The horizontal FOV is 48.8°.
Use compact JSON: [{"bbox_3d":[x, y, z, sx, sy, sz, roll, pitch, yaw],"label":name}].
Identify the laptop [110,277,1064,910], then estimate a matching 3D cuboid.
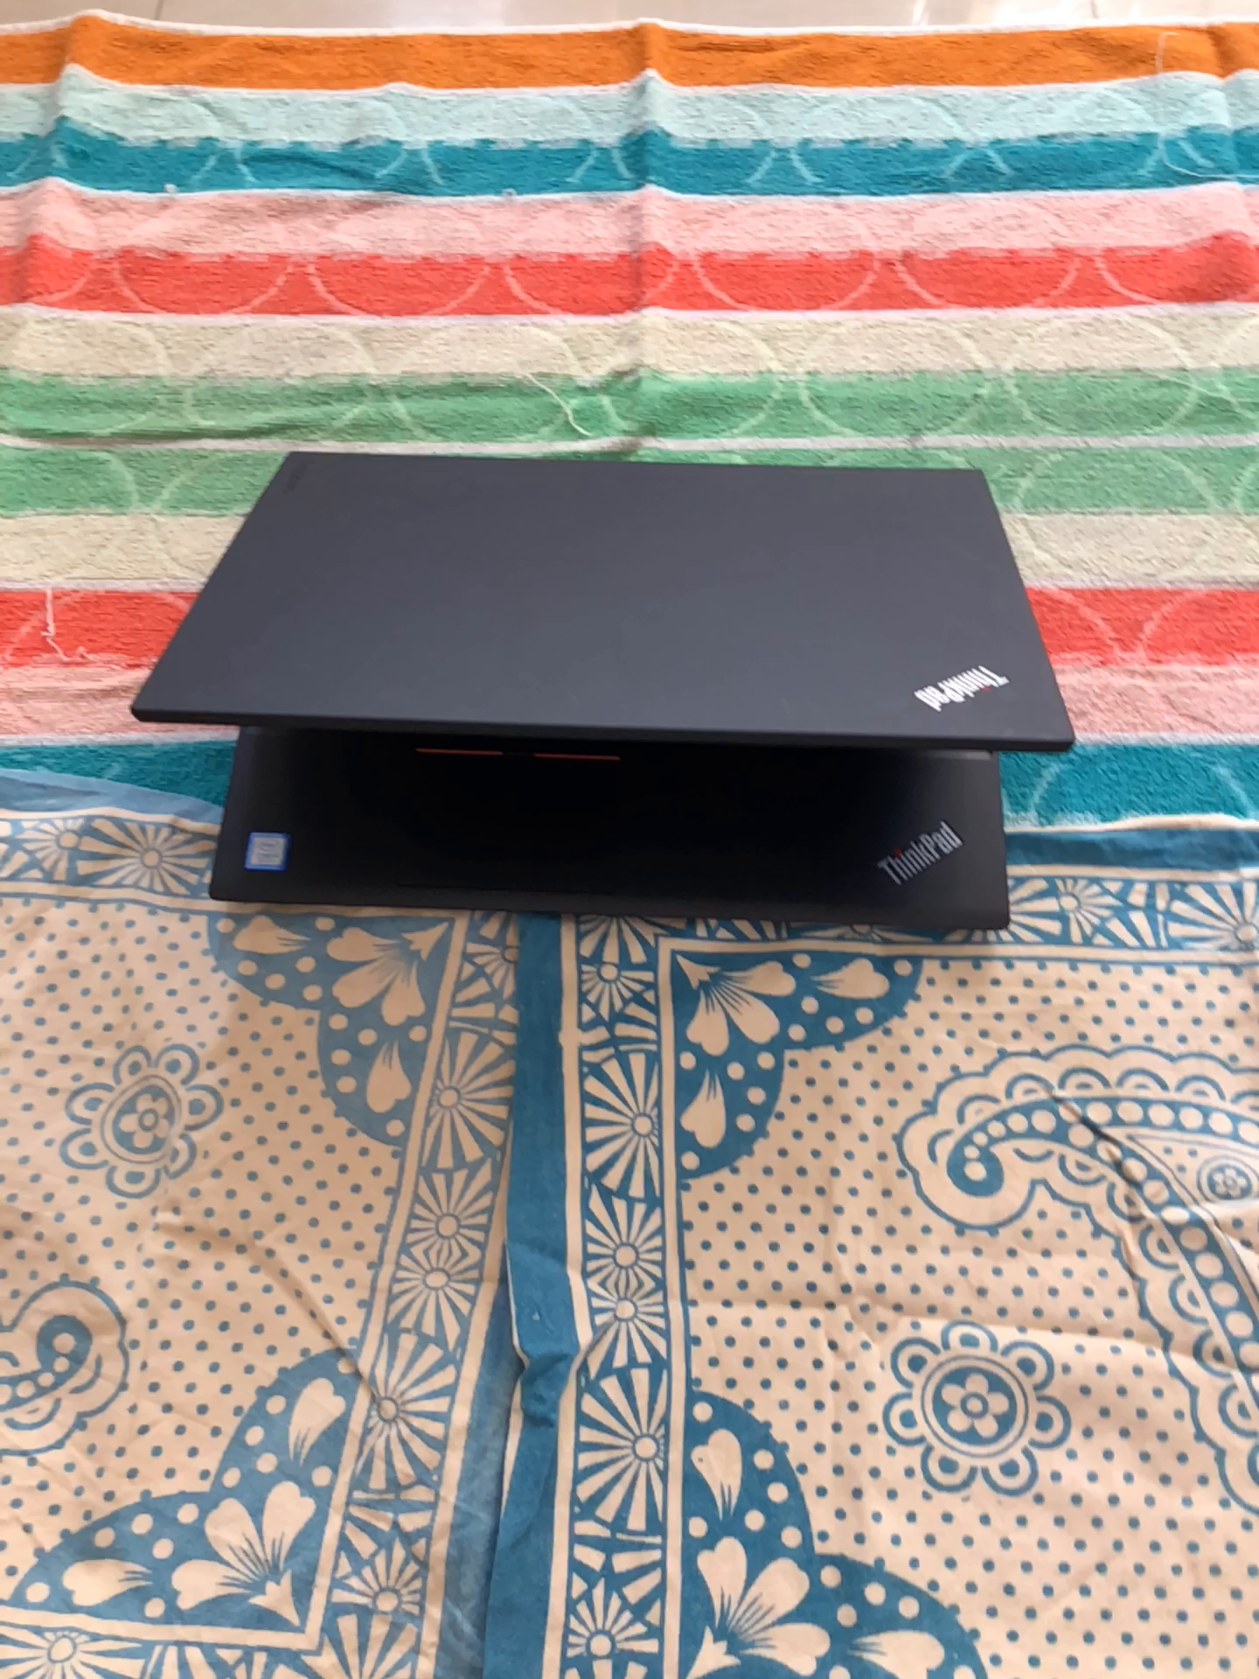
[{"bbox_3d":[-0.006,-0.108,0.611,0.345,0.121,0.243,2,64,0],"label":"laptop"}]
